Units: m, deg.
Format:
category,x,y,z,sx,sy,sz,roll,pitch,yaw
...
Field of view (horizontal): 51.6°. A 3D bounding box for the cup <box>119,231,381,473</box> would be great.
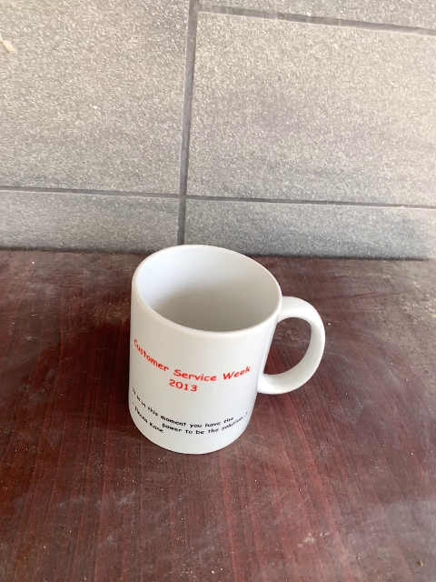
category,x,y,z,sx,sy,sz,roll,pitch,yaw
cup,0.006,0.032,0.265,0.120,0.100,0.090,-1,37,-11
